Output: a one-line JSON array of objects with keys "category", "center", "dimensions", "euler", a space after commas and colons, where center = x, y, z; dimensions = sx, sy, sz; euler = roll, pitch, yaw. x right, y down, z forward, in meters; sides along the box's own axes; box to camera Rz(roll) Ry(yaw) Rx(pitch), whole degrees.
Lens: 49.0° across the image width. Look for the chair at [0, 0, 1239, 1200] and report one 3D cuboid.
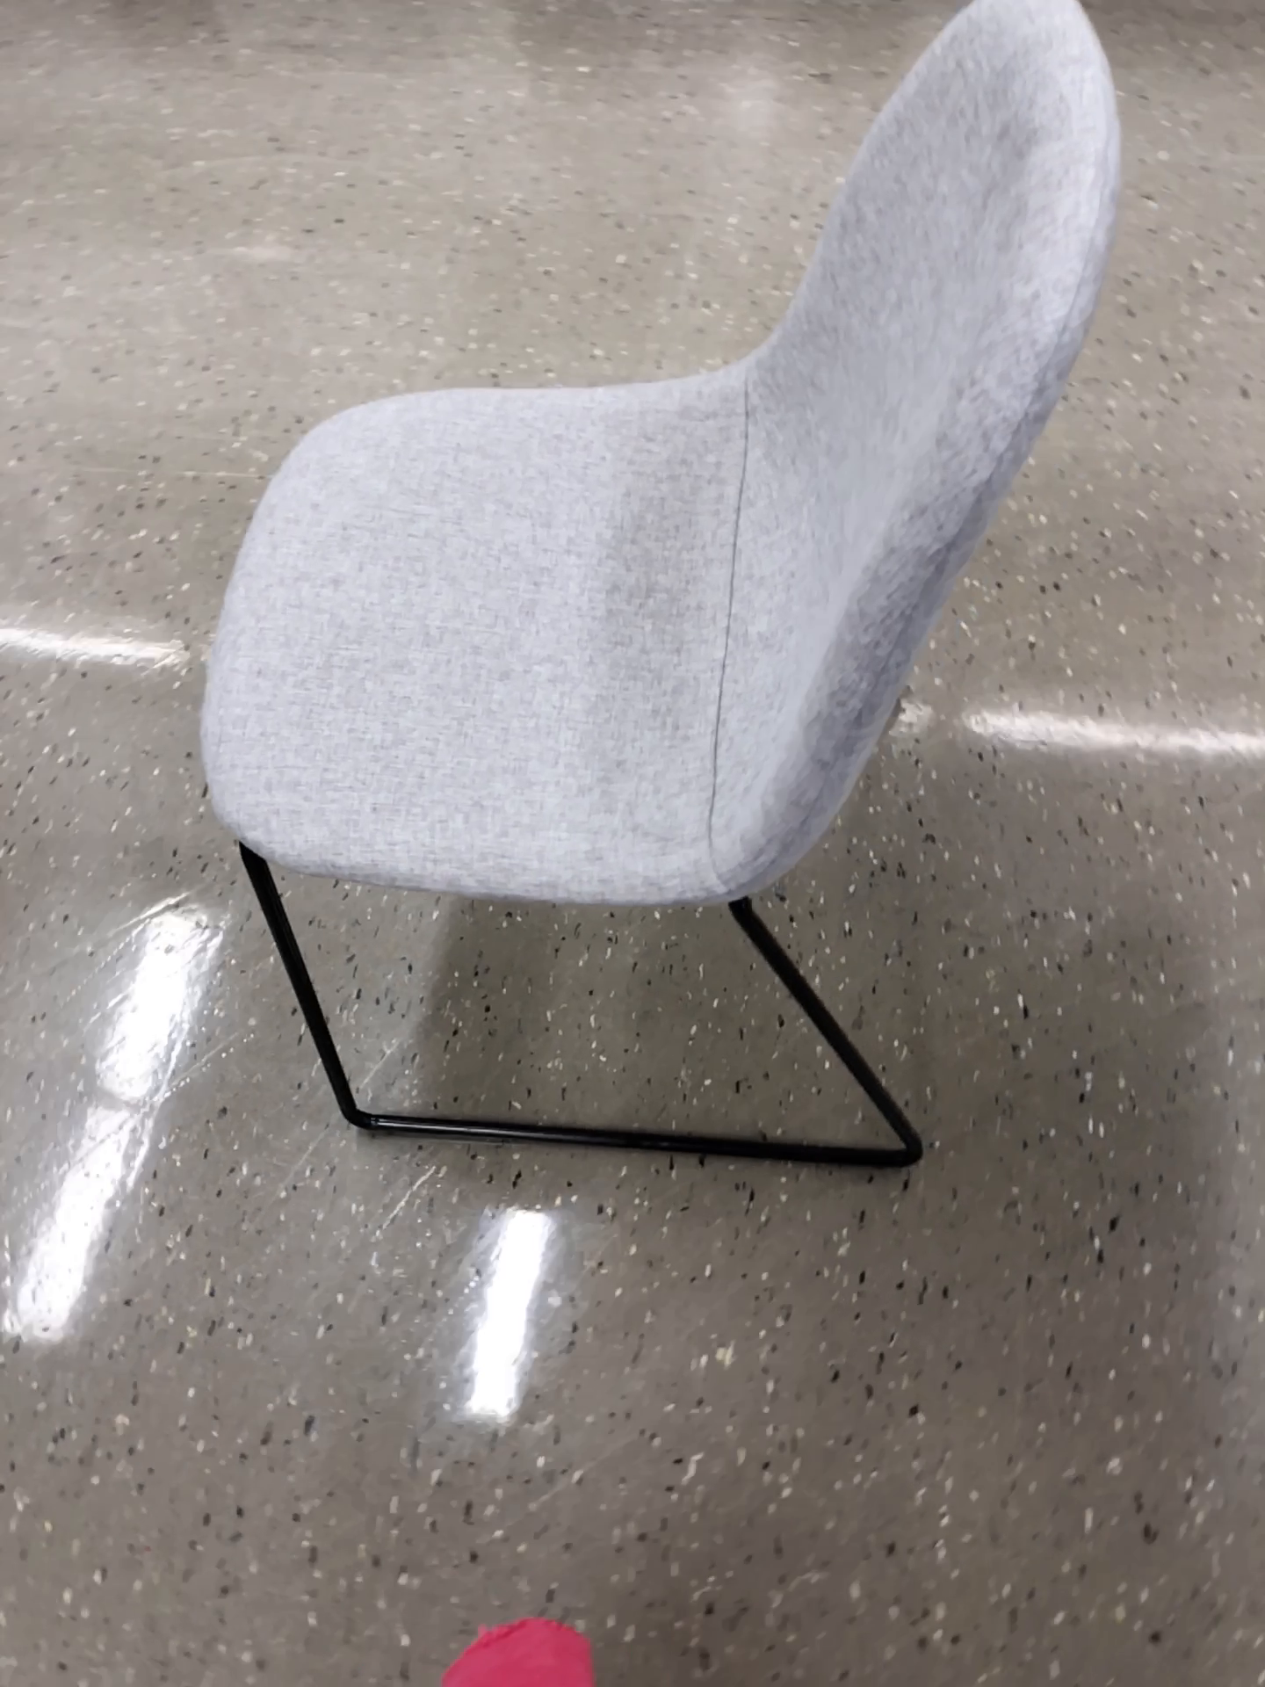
[{"category": "chair", "center": [-0.028, -0.166, 0.974], "dimensions": [0.580, 0.779, 0.591], "euler": [2, 61, 7]}]
